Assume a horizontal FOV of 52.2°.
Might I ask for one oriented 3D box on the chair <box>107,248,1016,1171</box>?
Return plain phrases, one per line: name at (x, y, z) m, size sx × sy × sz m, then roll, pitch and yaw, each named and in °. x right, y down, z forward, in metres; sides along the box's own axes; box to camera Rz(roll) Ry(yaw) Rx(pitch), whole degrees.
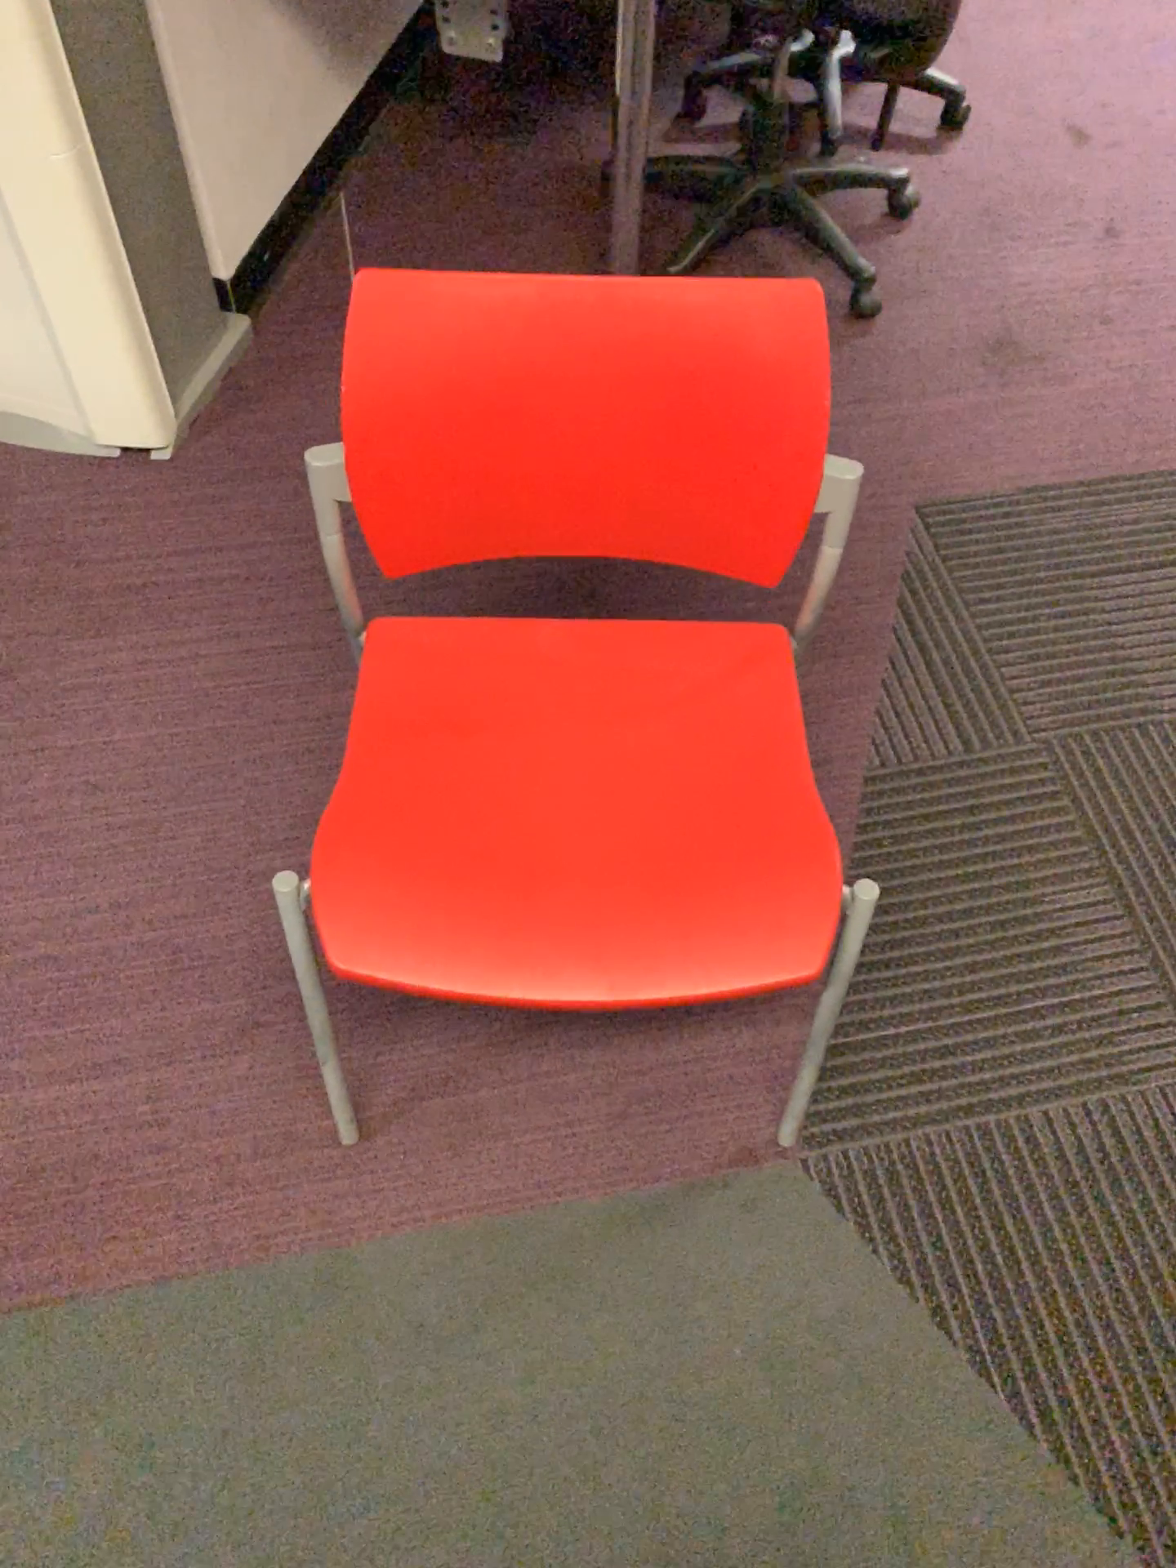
chair at (0.003, -0.030, 1.153) m, size 0.540 × 0.685 × 0.564 m, roll 2°, pitch 55°, yaw 3°
